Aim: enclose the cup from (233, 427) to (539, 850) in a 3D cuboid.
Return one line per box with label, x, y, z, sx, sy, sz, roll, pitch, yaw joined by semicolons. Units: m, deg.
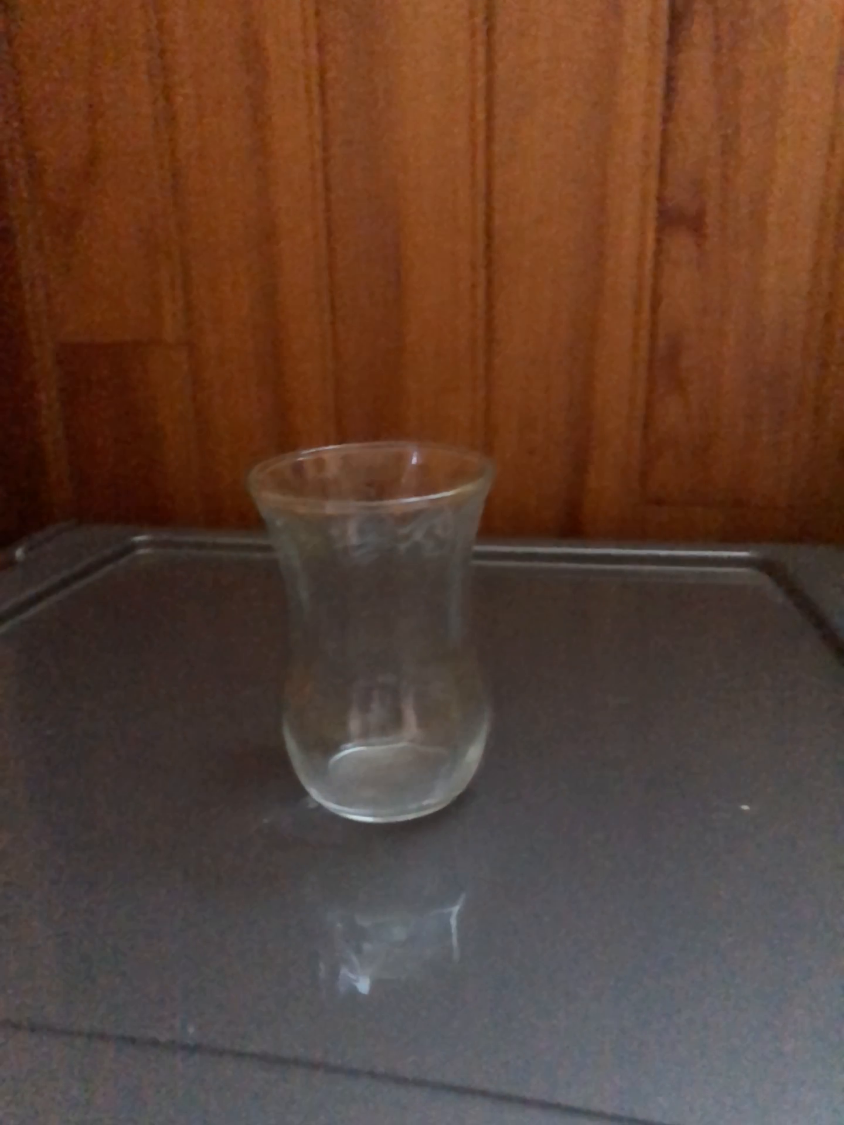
cup;-0.011;0.014;0.231;0.060;0.080;0.060;-1;20;0
